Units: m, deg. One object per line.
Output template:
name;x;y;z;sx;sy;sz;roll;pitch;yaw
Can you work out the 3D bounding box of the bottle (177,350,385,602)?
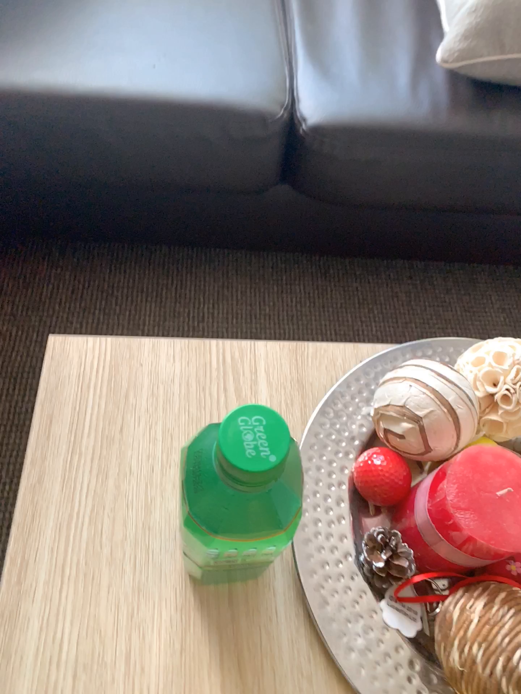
bottle;-0.008;0.087;0.293;0.070;0.218;0.071;4;60;-6
